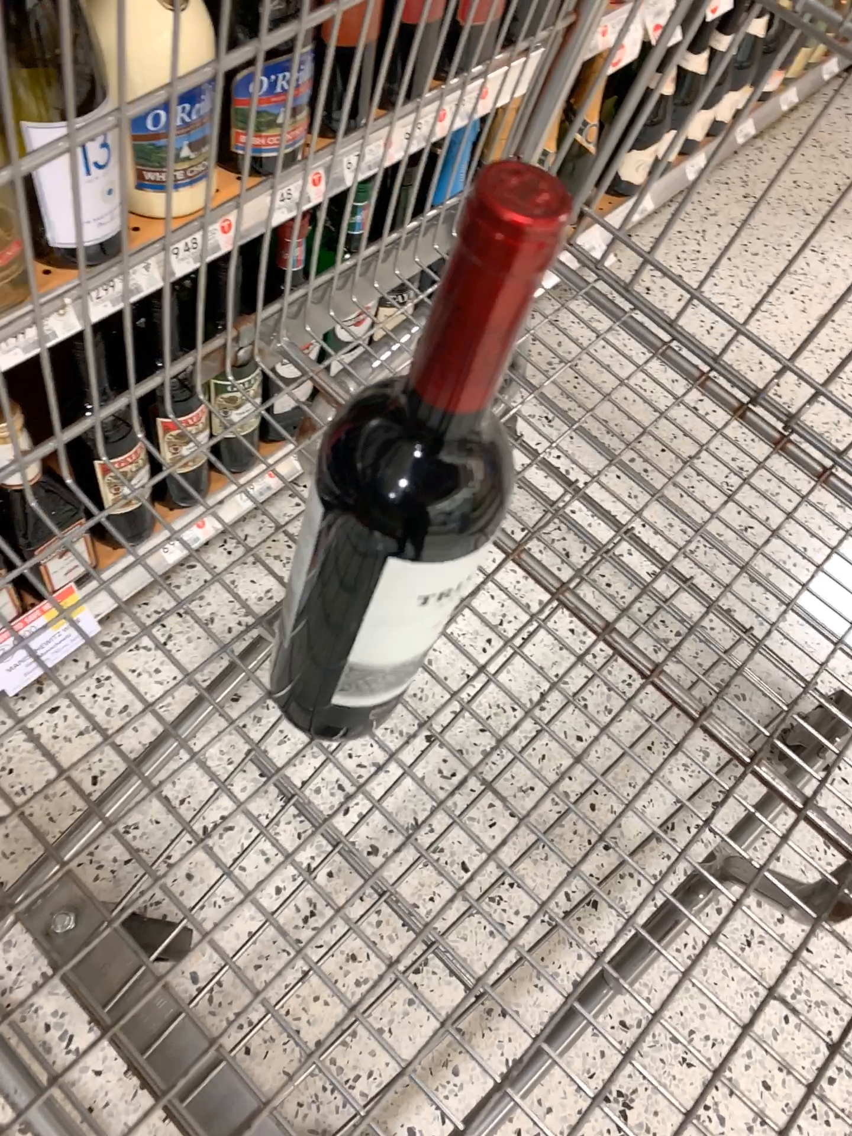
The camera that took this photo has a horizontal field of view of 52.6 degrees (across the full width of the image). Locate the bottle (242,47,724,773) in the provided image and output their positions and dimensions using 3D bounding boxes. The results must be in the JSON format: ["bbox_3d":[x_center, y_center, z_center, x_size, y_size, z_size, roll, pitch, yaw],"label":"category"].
[{"bbox_3d":[-0.005,-0.026,0.349,0.080,0.298,0.091,34,55,7],"label":"bottle"}]
